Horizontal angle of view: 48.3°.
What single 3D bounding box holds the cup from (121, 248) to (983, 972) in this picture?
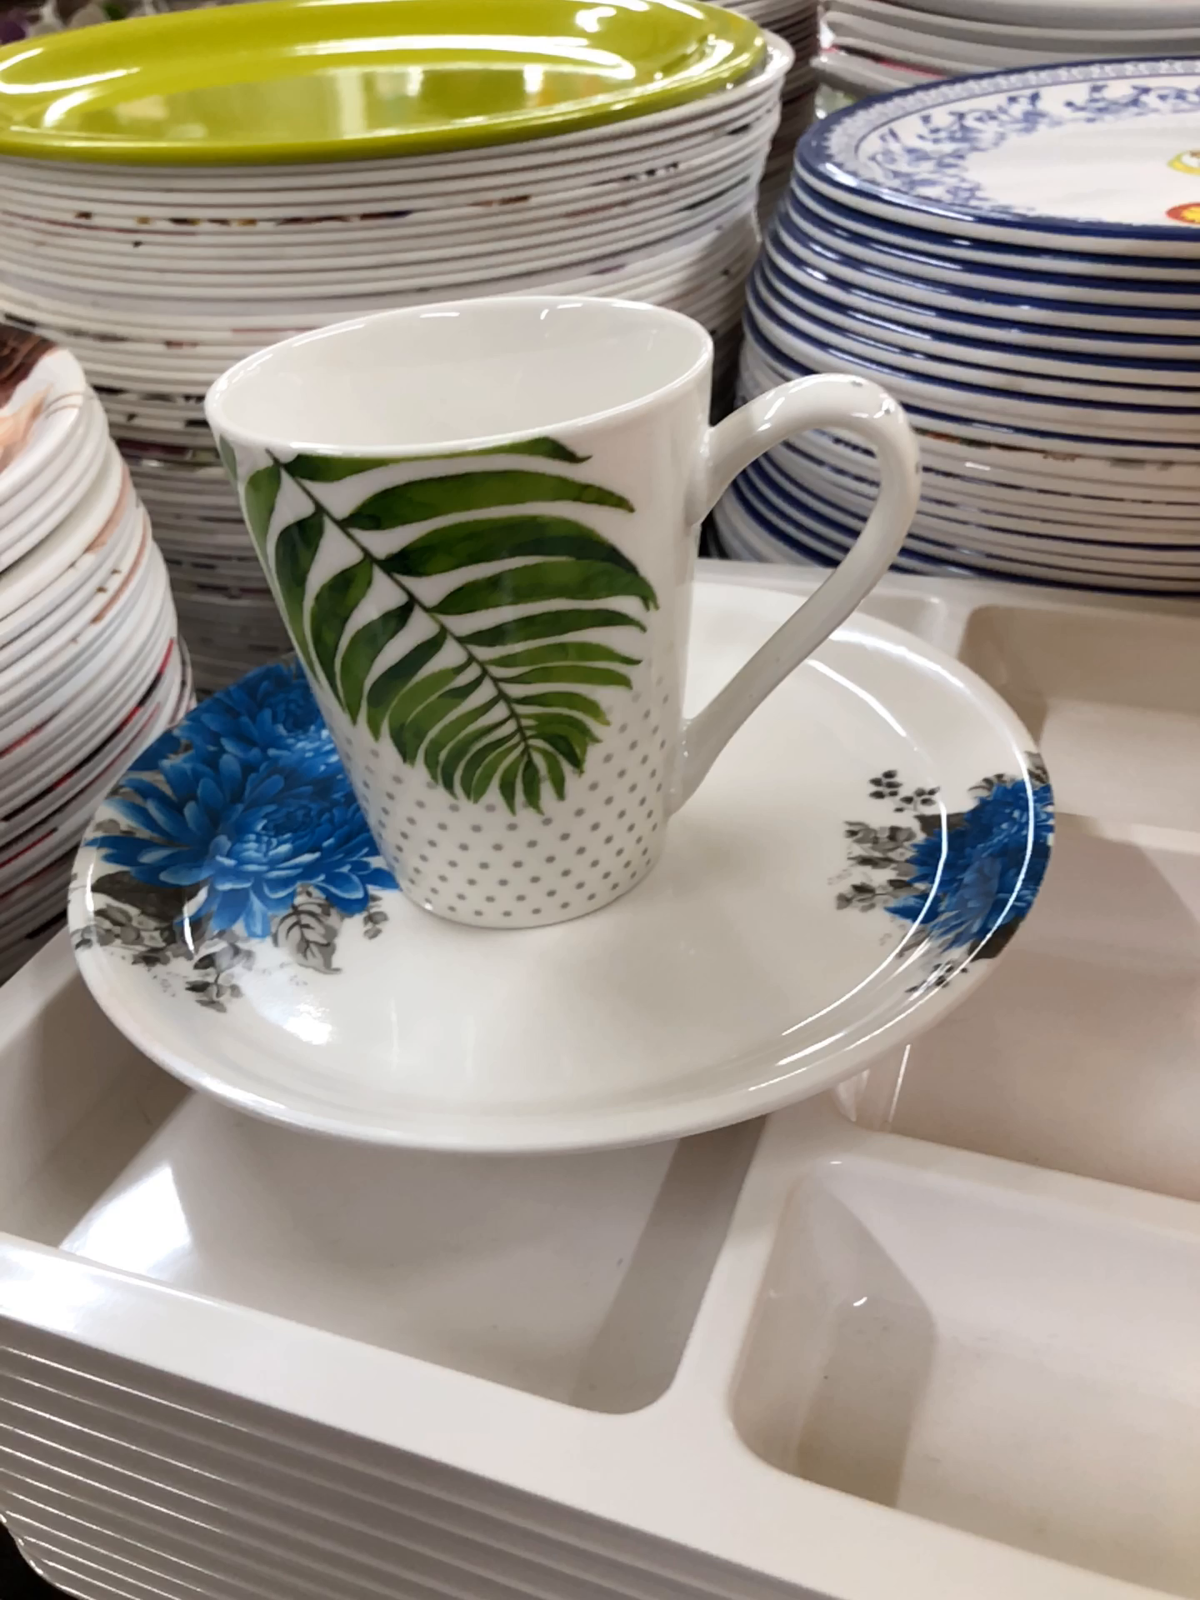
[{"bbox_3d":[-0.007,-0.038,0.243,0.120,0.089,0.080,-8,35,-4],"label":"cup"}]
